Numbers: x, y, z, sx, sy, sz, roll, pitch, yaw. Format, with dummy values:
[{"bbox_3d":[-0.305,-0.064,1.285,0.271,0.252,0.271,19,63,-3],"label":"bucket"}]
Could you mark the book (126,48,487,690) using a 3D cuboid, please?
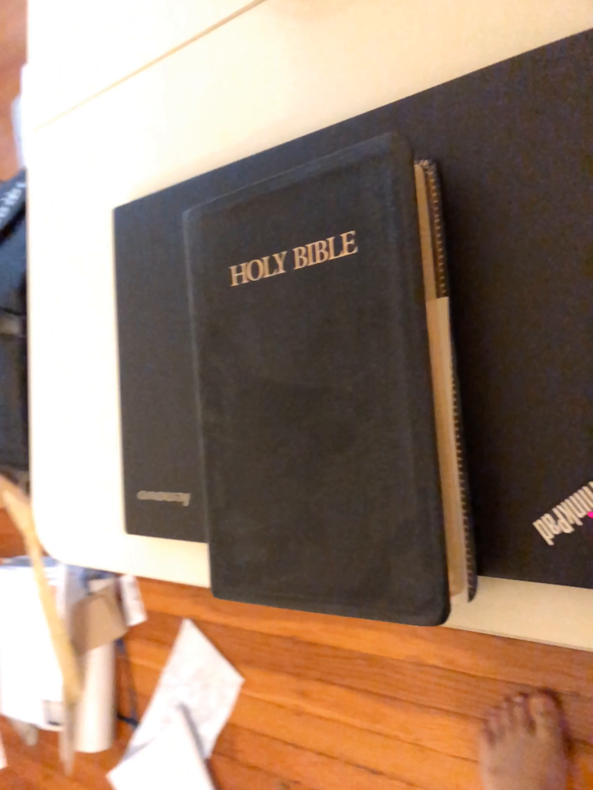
[{"bbox_3d":[-0.008,-0.006,0.313,0.170,0.040,0.240,-7,84,39],"label":"book"}]
